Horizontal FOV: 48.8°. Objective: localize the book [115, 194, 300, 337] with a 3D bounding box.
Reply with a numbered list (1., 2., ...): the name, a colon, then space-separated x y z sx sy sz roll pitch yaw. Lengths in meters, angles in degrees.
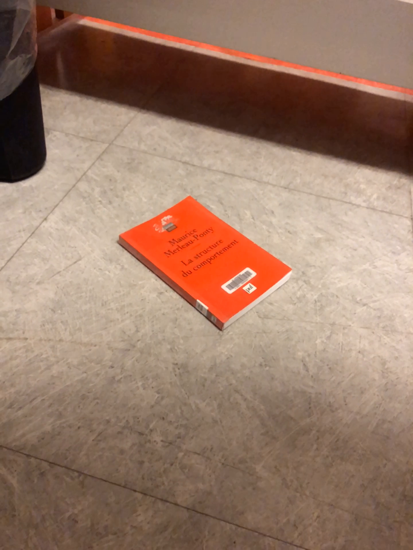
1. book: -0.002 -0.024 0.585 0.136 0.020 0.200 -32 58 -33
